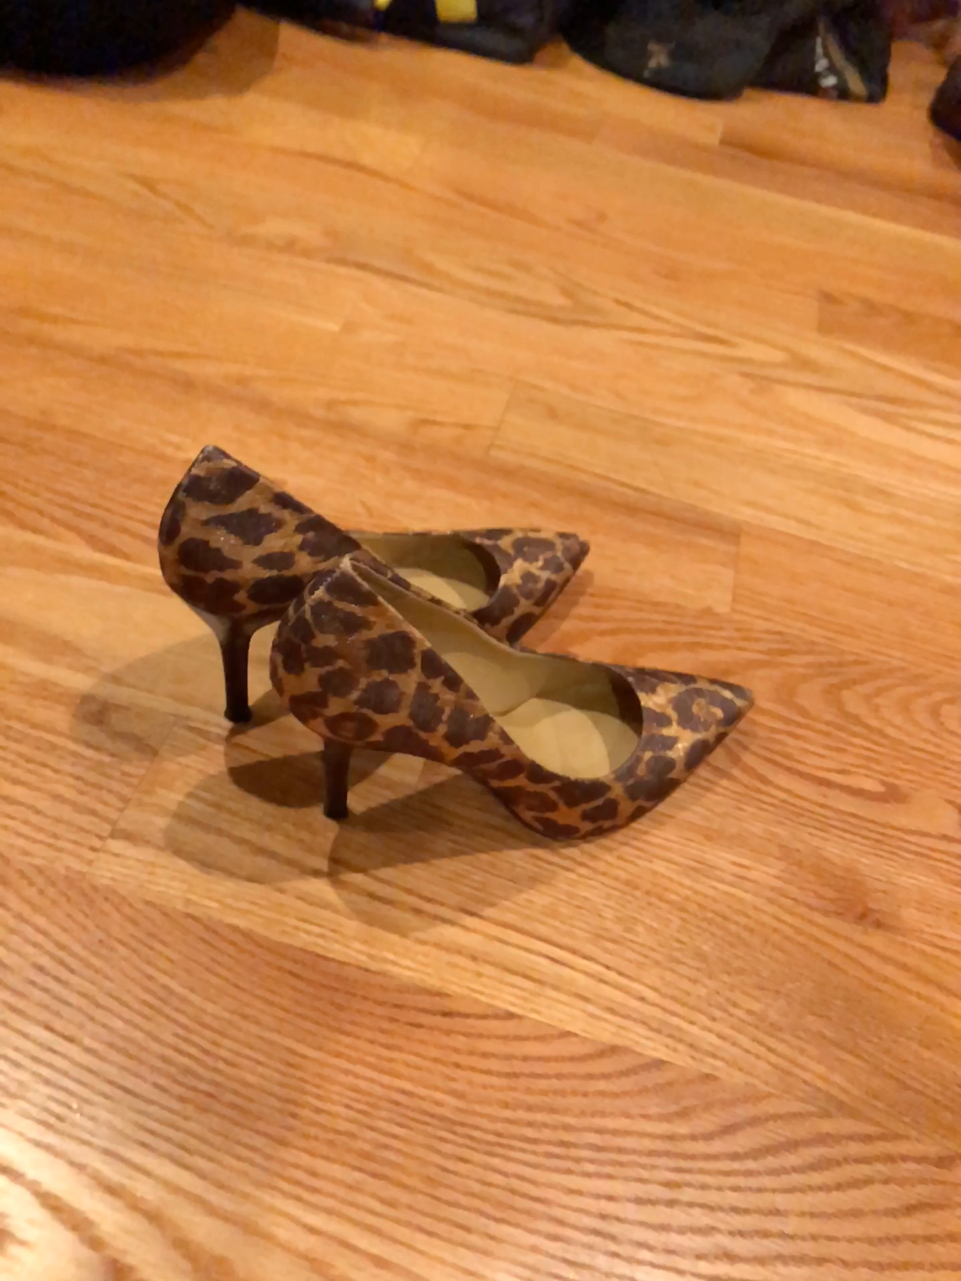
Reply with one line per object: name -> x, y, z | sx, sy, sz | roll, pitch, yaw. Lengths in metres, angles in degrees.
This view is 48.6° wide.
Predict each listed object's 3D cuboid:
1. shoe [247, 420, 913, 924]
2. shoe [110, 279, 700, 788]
shoe -> 0.028, 0.009, 0.415 | 0.219, 0.144, 0.084 | -11, 50, -22
shoe -> -0.031, -0.052, 0.461 | 0.219, 0.144, 0.084 | -23, 55, -30
